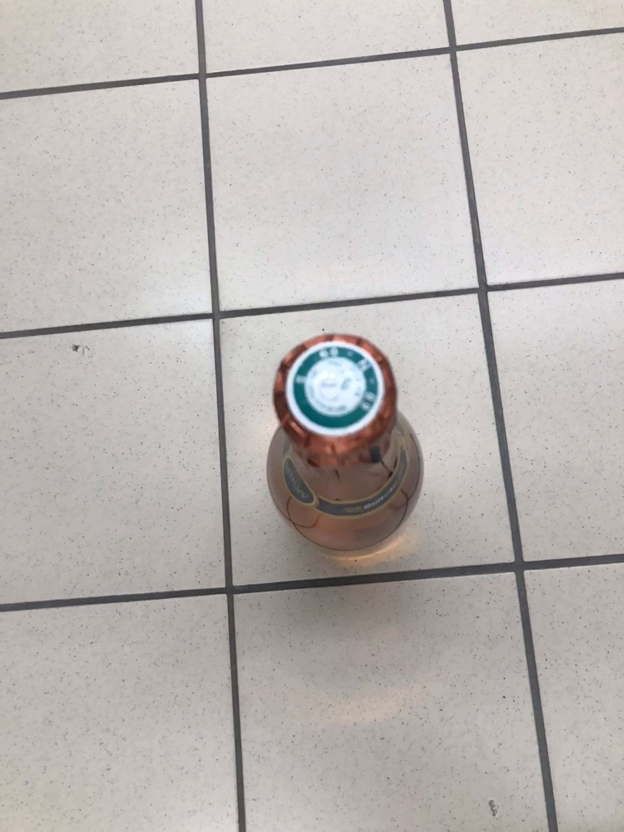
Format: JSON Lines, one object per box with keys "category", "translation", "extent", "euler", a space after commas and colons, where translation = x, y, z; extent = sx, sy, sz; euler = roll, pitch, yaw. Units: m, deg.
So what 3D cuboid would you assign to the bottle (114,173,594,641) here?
{"category": "bottle", "translation": [0.018, 0.023, 0.334], "extent": [0.090, 0.310, 0.090], "euler": [-1, 79, 3]}
